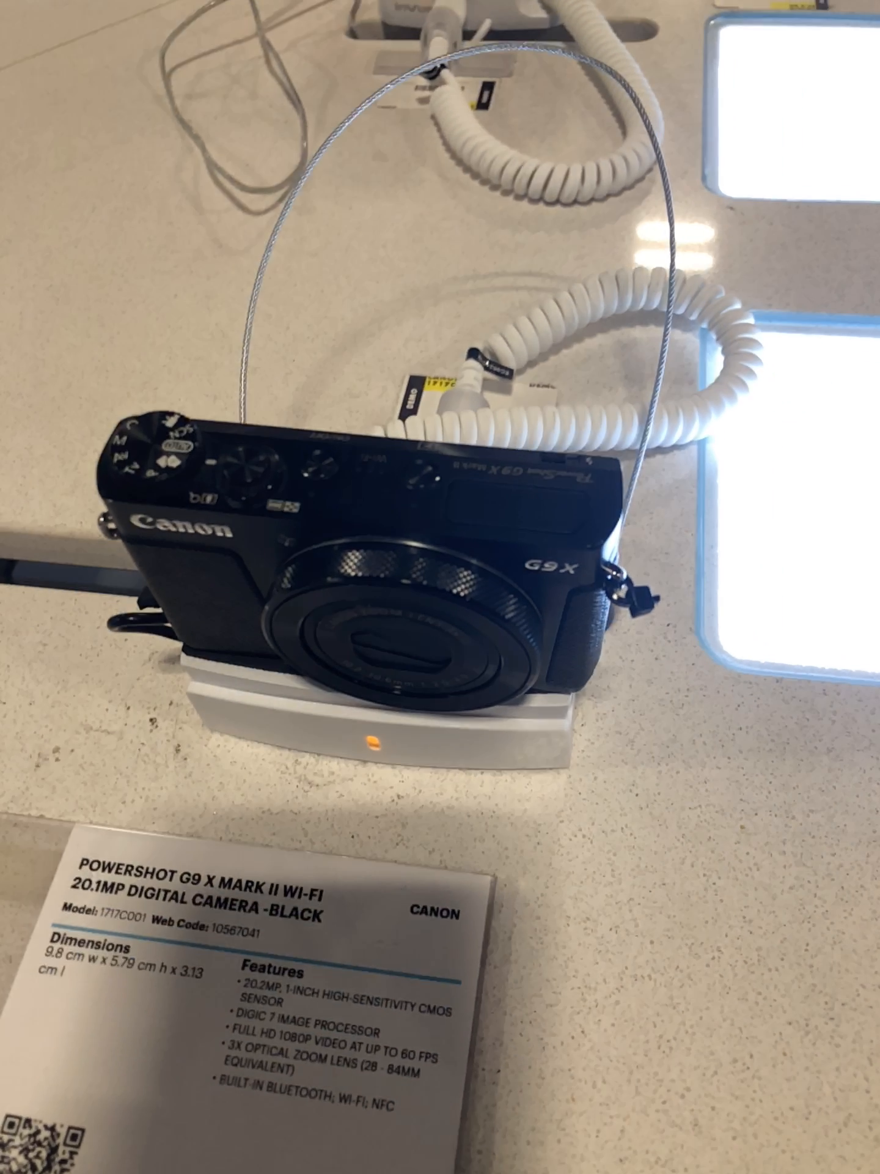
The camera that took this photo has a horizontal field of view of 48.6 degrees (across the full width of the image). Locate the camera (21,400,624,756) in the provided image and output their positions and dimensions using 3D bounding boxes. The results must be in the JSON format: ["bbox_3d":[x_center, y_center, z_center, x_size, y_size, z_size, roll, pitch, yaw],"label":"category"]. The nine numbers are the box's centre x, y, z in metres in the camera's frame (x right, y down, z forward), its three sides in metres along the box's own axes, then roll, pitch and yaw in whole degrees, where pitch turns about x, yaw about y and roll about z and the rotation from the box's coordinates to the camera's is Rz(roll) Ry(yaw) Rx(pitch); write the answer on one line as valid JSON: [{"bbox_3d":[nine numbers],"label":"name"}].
[{"bbox_3d":[-0.018,0.000,0.192,0.100,0.060,0.030,7,56,9],"label":"camera"}]
